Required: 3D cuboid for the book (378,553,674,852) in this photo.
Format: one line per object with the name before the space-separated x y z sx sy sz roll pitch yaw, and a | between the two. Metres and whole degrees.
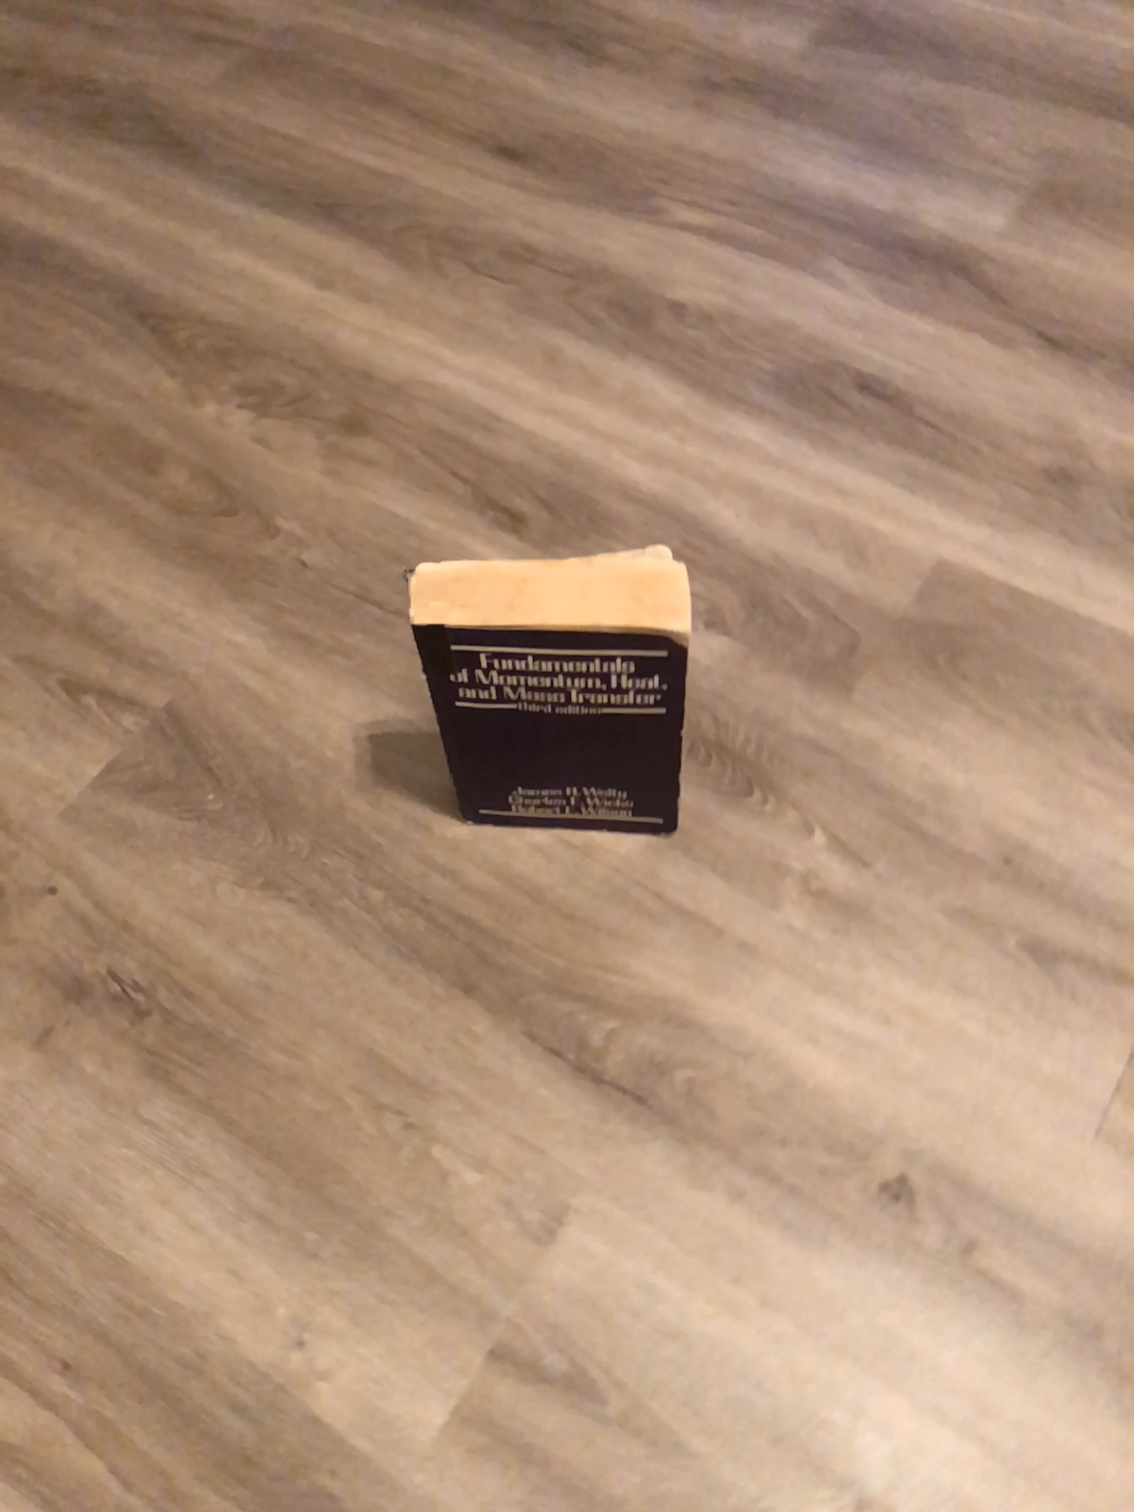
book | -0.015 -0.023 0.762 0.155 0.219 0.060 -1 56 3
